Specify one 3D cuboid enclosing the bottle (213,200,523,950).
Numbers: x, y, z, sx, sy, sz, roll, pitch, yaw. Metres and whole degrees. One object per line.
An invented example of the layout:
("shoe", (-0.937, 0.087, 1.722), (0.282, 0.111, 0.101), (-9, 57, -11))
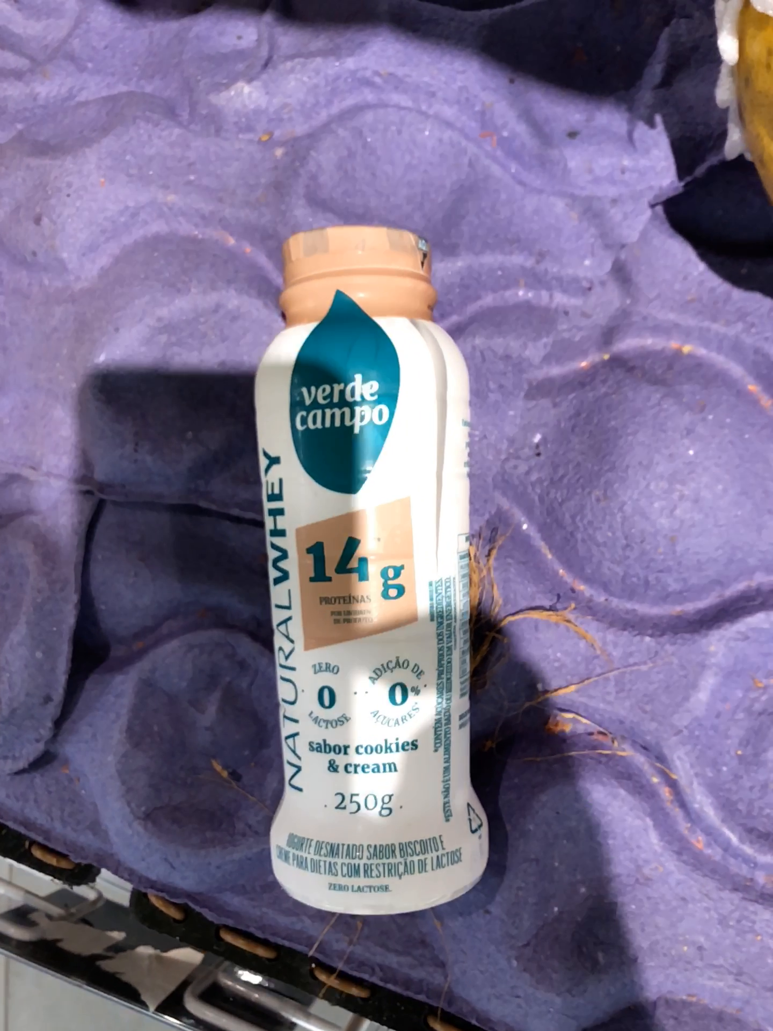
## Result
("bottle", (-0.003, 0.014, 0.208), (0.060, 0.040, 0.160), (-3, 90, 4))
